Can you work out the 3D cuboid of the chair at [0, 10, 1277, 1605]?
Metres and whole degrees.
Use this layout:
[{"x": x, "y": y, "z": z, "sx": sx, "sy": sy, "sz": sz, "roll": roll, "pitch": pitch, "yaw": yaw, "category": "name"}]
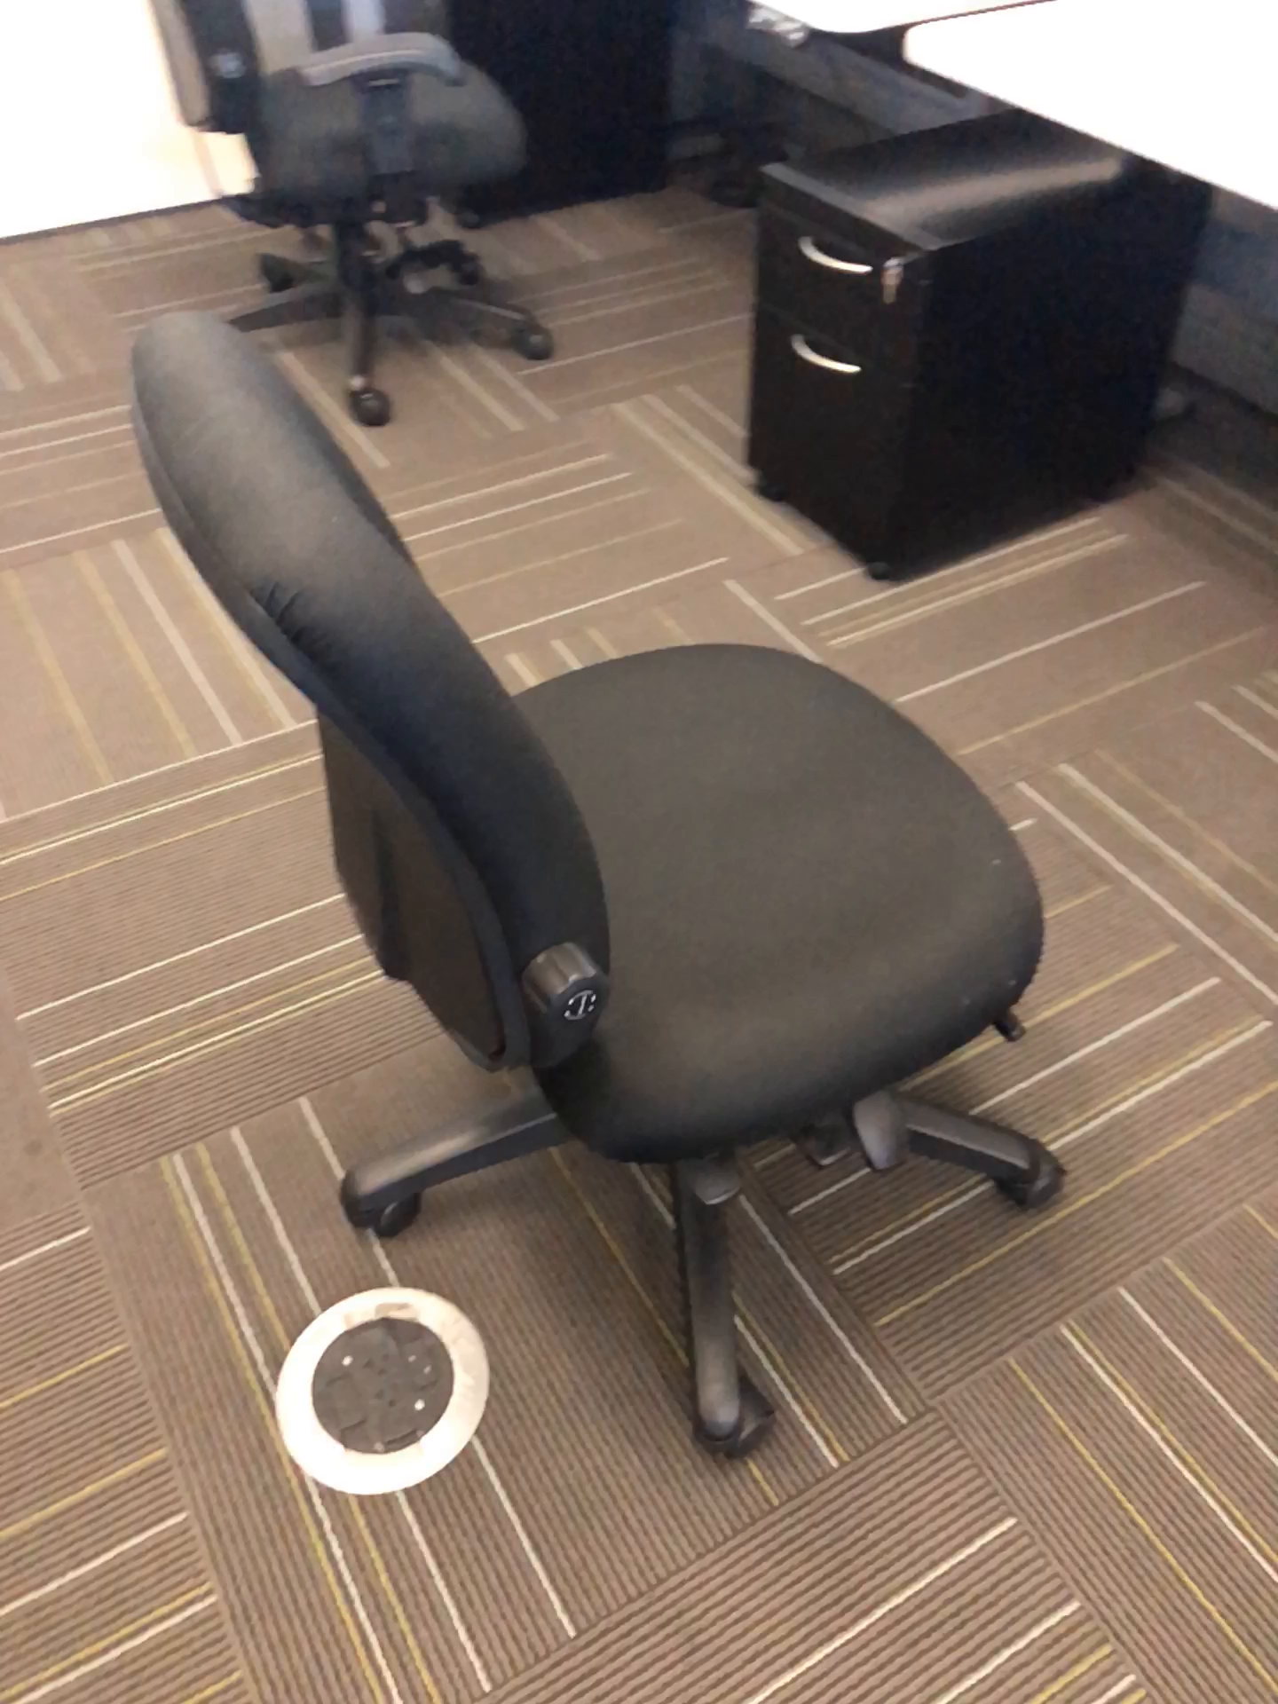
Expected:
[{"x": 0.008, "y": -0.088, "z": 1.182, "sx": 0.760, "sy": 0.846, "sz": 0.773, "roll": -22, "pitch": 48, "yaw": -22, "category": "chair"}]
